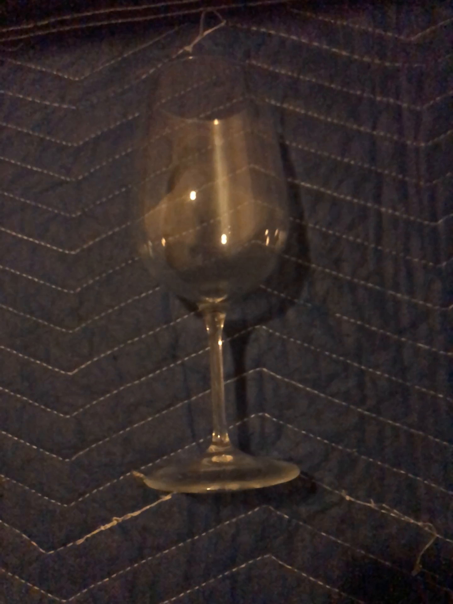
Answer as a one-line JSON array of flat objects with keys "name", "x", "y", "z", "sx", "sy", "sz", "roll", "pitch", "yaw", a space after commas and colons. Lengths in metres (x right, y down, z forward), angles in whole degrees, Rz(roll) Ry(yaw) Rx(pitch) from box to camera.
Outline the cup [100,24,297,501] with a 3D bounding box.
[{"name": "cup", "x": -0.011, "y": -0.016, "z": 0.267, "sx": 0.080, "sy": 0.090, "sz": 0.210, "roll": -4, "pitch": 79, "yaw": 7}]
